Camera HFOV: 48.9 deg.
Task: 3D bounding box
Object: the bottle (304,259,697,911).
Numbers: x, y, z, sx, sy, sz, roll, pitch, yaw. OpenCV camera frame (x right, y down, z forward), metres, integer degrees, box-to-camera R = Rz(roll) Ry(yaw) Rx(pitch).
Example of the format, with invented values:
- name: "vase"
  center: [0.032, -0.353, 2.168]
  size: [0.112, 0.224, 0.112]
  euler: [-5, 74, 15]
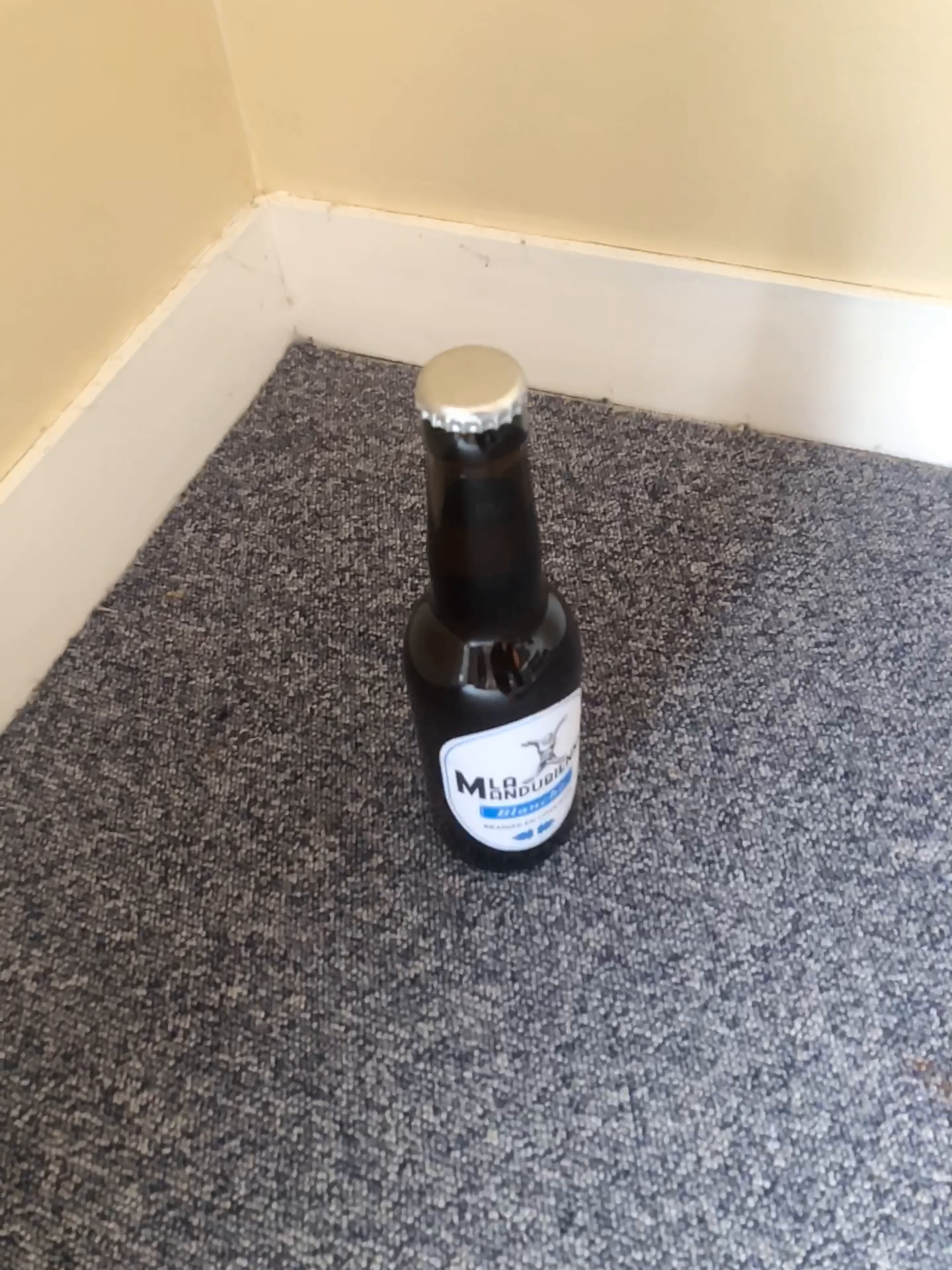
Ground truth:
- name: "bottle"
  center: [0.010, 0.001, 0.334]
  size: [0.070, 0.209, 0.070]
  euler: [-2, 53, 3]
